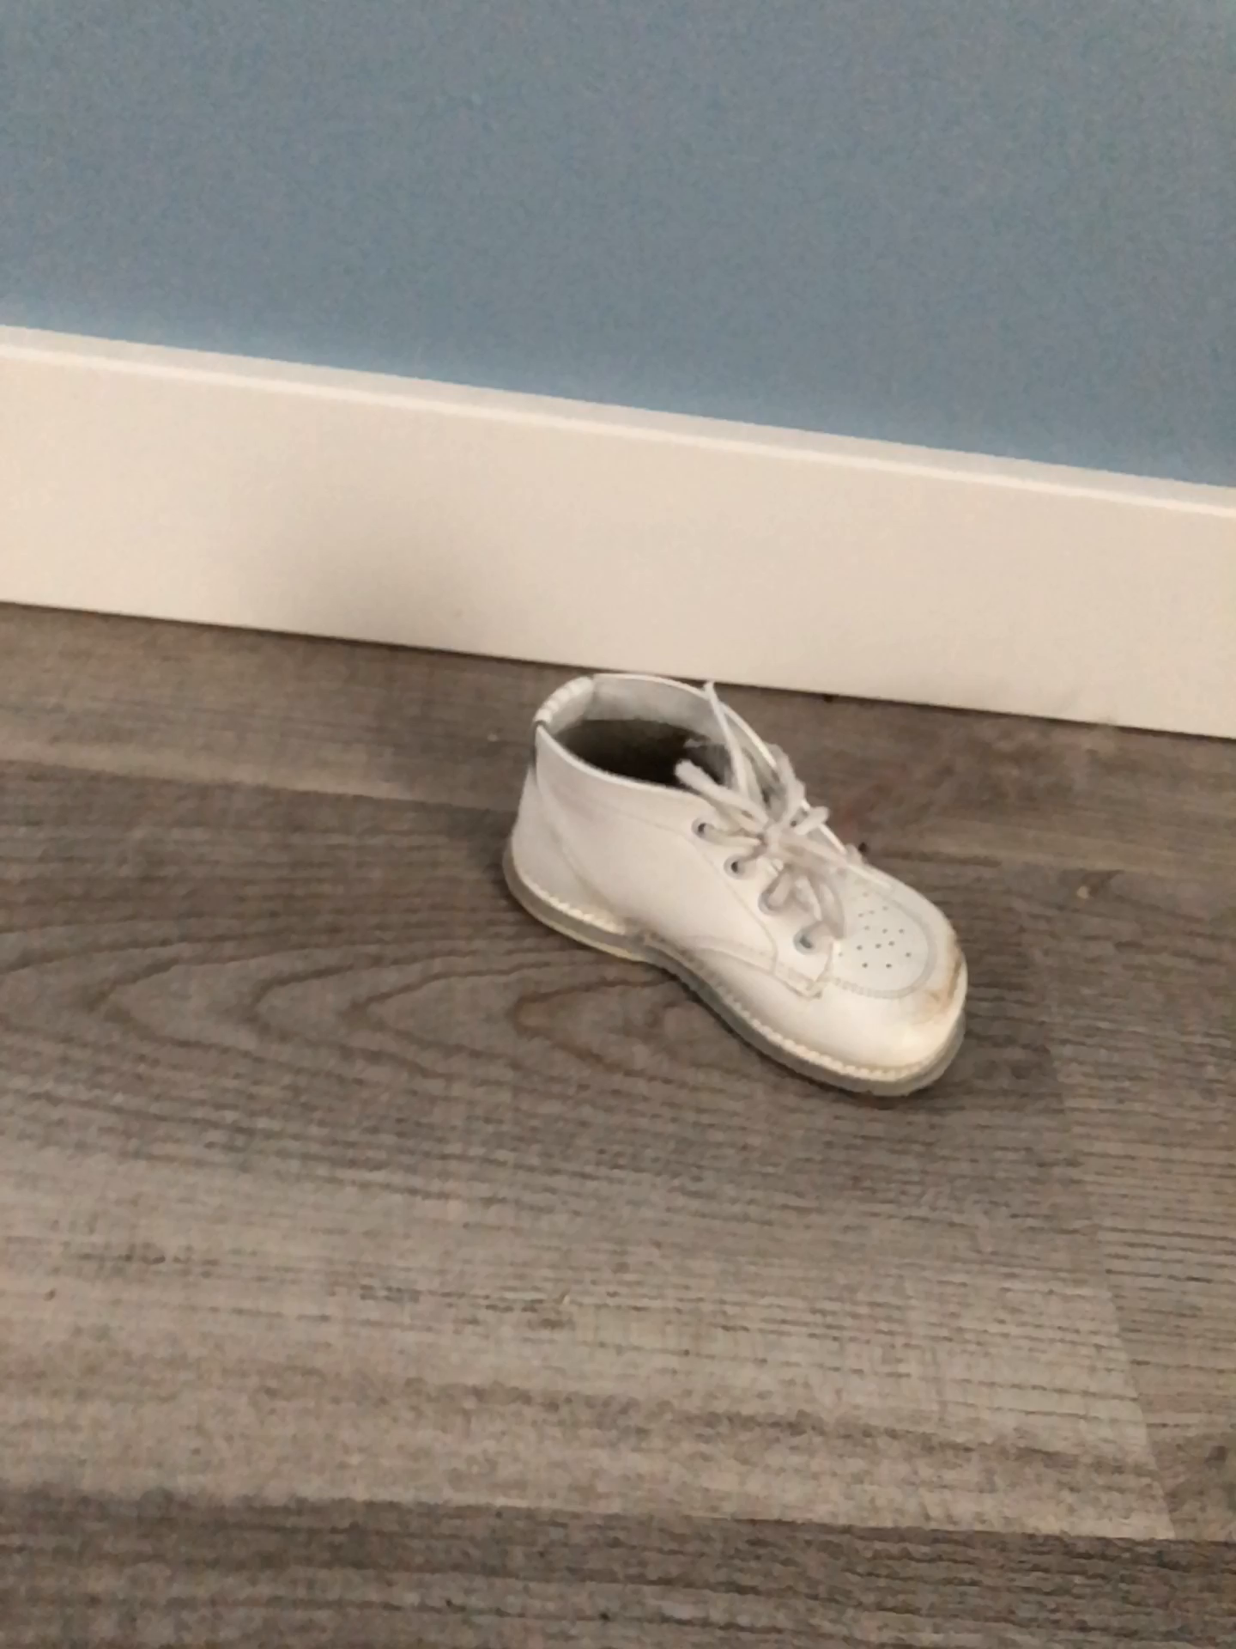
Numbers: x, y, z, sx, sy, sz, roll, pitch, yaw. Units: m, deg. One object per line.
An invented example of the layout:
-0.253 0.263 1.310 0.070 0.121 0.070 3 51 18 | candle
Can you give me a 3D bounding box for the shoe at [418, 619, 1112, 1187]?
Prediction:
0.032 0.016 0.340 0.150 0.060 0.060 25 48 13 | shoe
